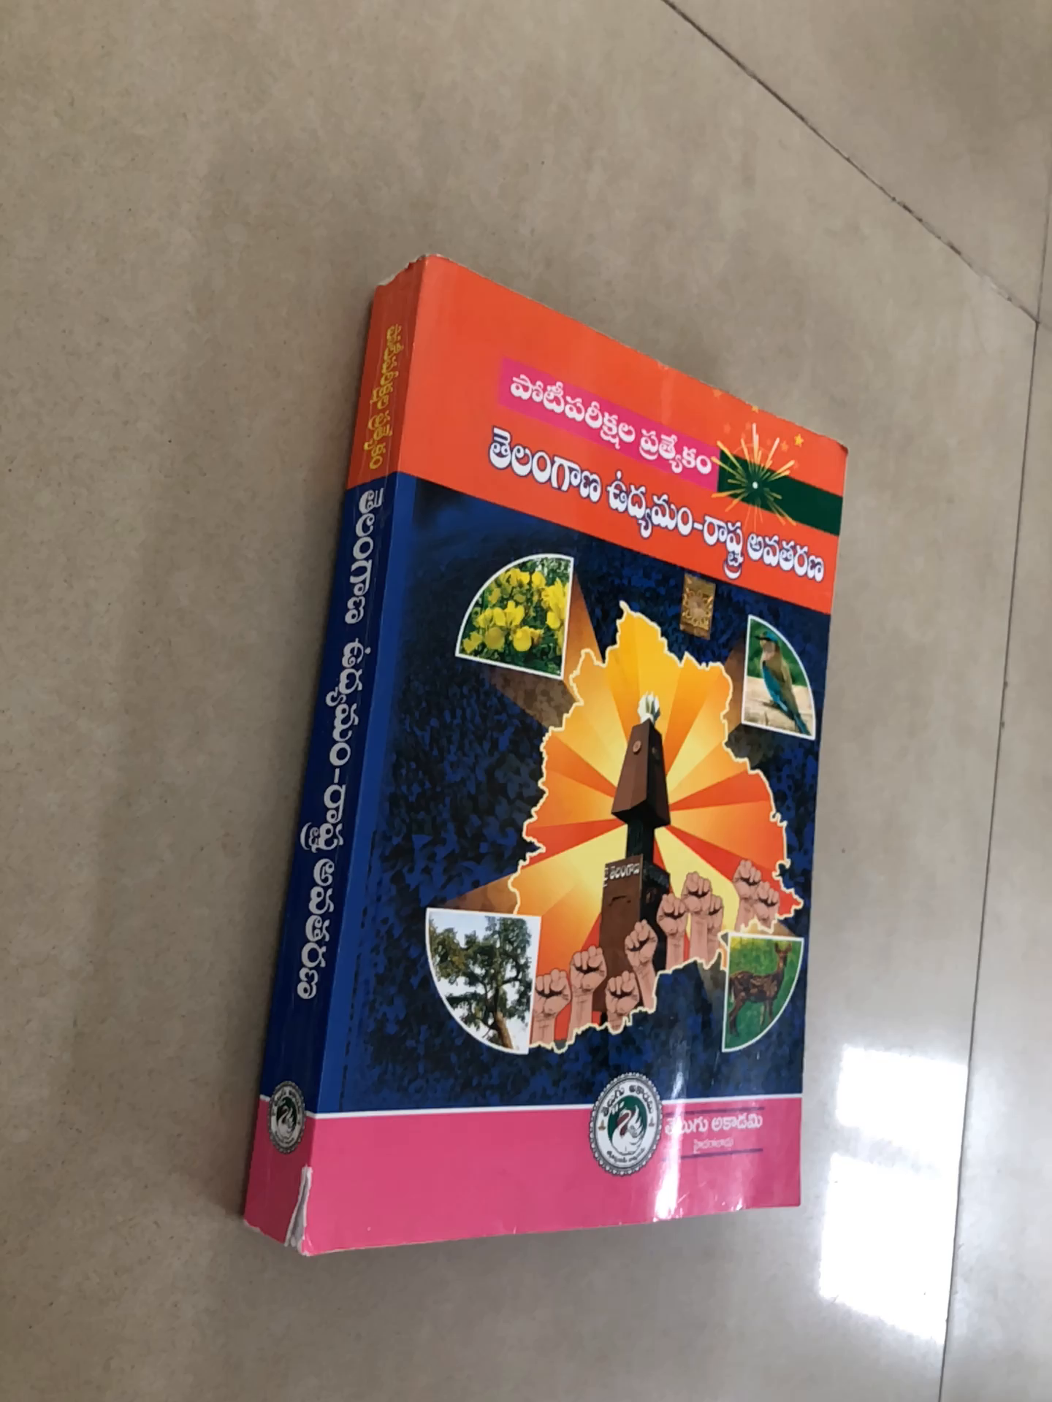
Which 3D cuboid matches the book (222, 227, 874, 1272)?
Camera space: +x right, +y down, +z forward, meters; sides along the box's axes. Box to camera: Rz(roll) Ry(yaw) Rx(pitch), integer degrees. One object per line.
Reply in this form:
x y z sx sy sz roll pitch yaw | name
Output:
0.025 0.021 0.367 0.202 0.040 0.265 12 78 -35 | book
